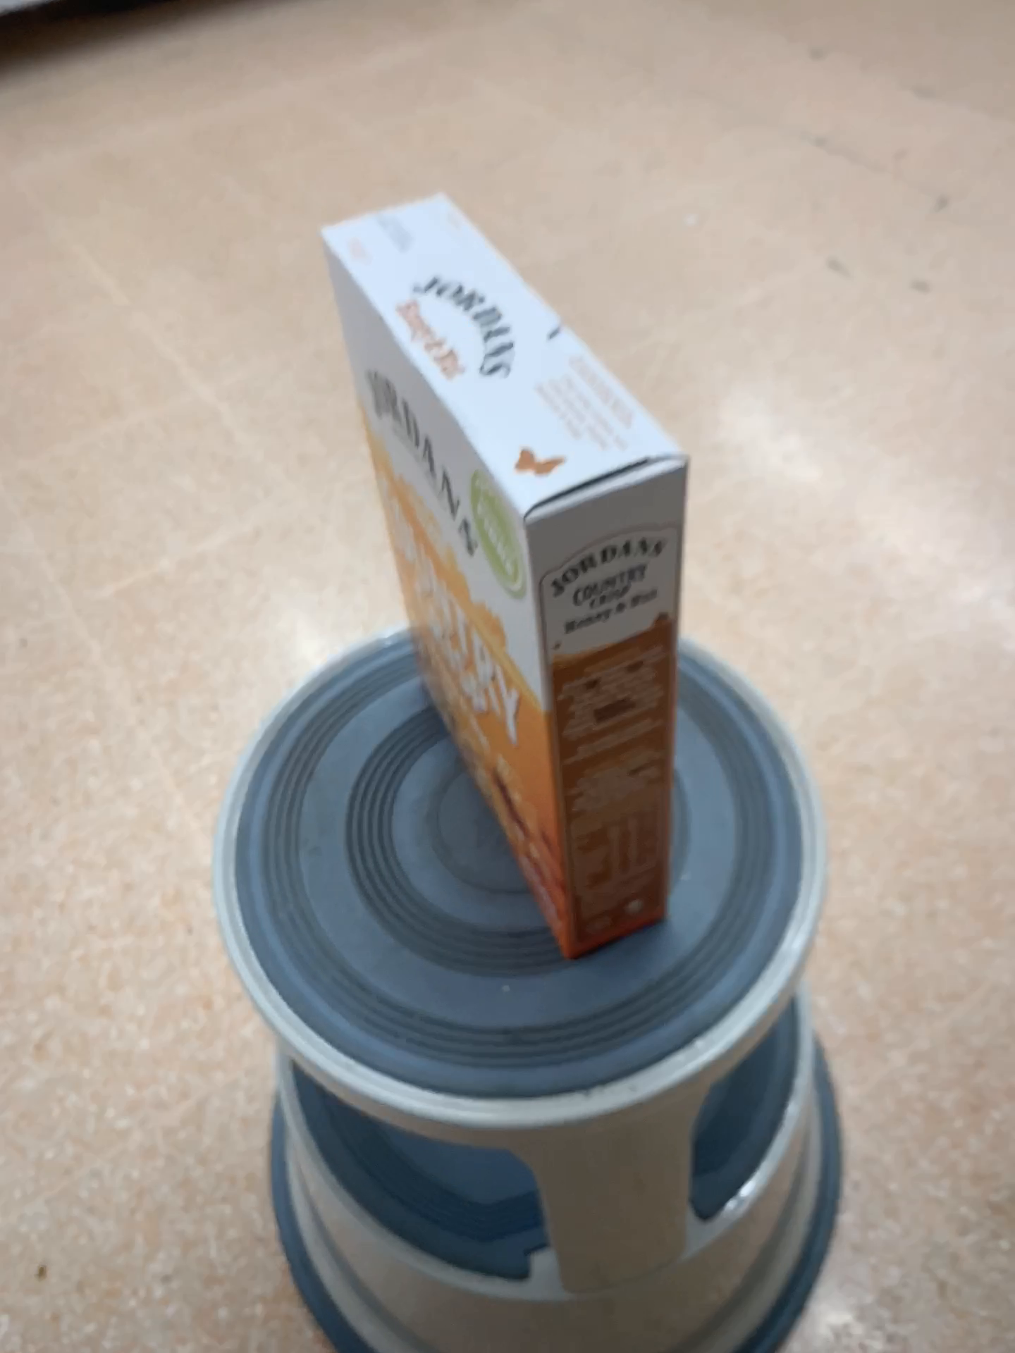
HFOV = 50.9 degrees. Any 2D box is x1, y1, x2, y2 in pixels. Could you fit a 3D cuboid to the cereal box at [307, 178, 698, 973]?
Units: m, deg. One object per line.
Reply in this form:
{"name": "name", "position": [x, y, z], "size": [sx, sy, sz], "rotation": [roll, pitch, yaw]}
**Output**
{"name": "cereal box", "position": [-0.002, -0.026, 0.421], "size": [0.050, 0.258, 0.181], "rotation": [-21, 51, -12]}
